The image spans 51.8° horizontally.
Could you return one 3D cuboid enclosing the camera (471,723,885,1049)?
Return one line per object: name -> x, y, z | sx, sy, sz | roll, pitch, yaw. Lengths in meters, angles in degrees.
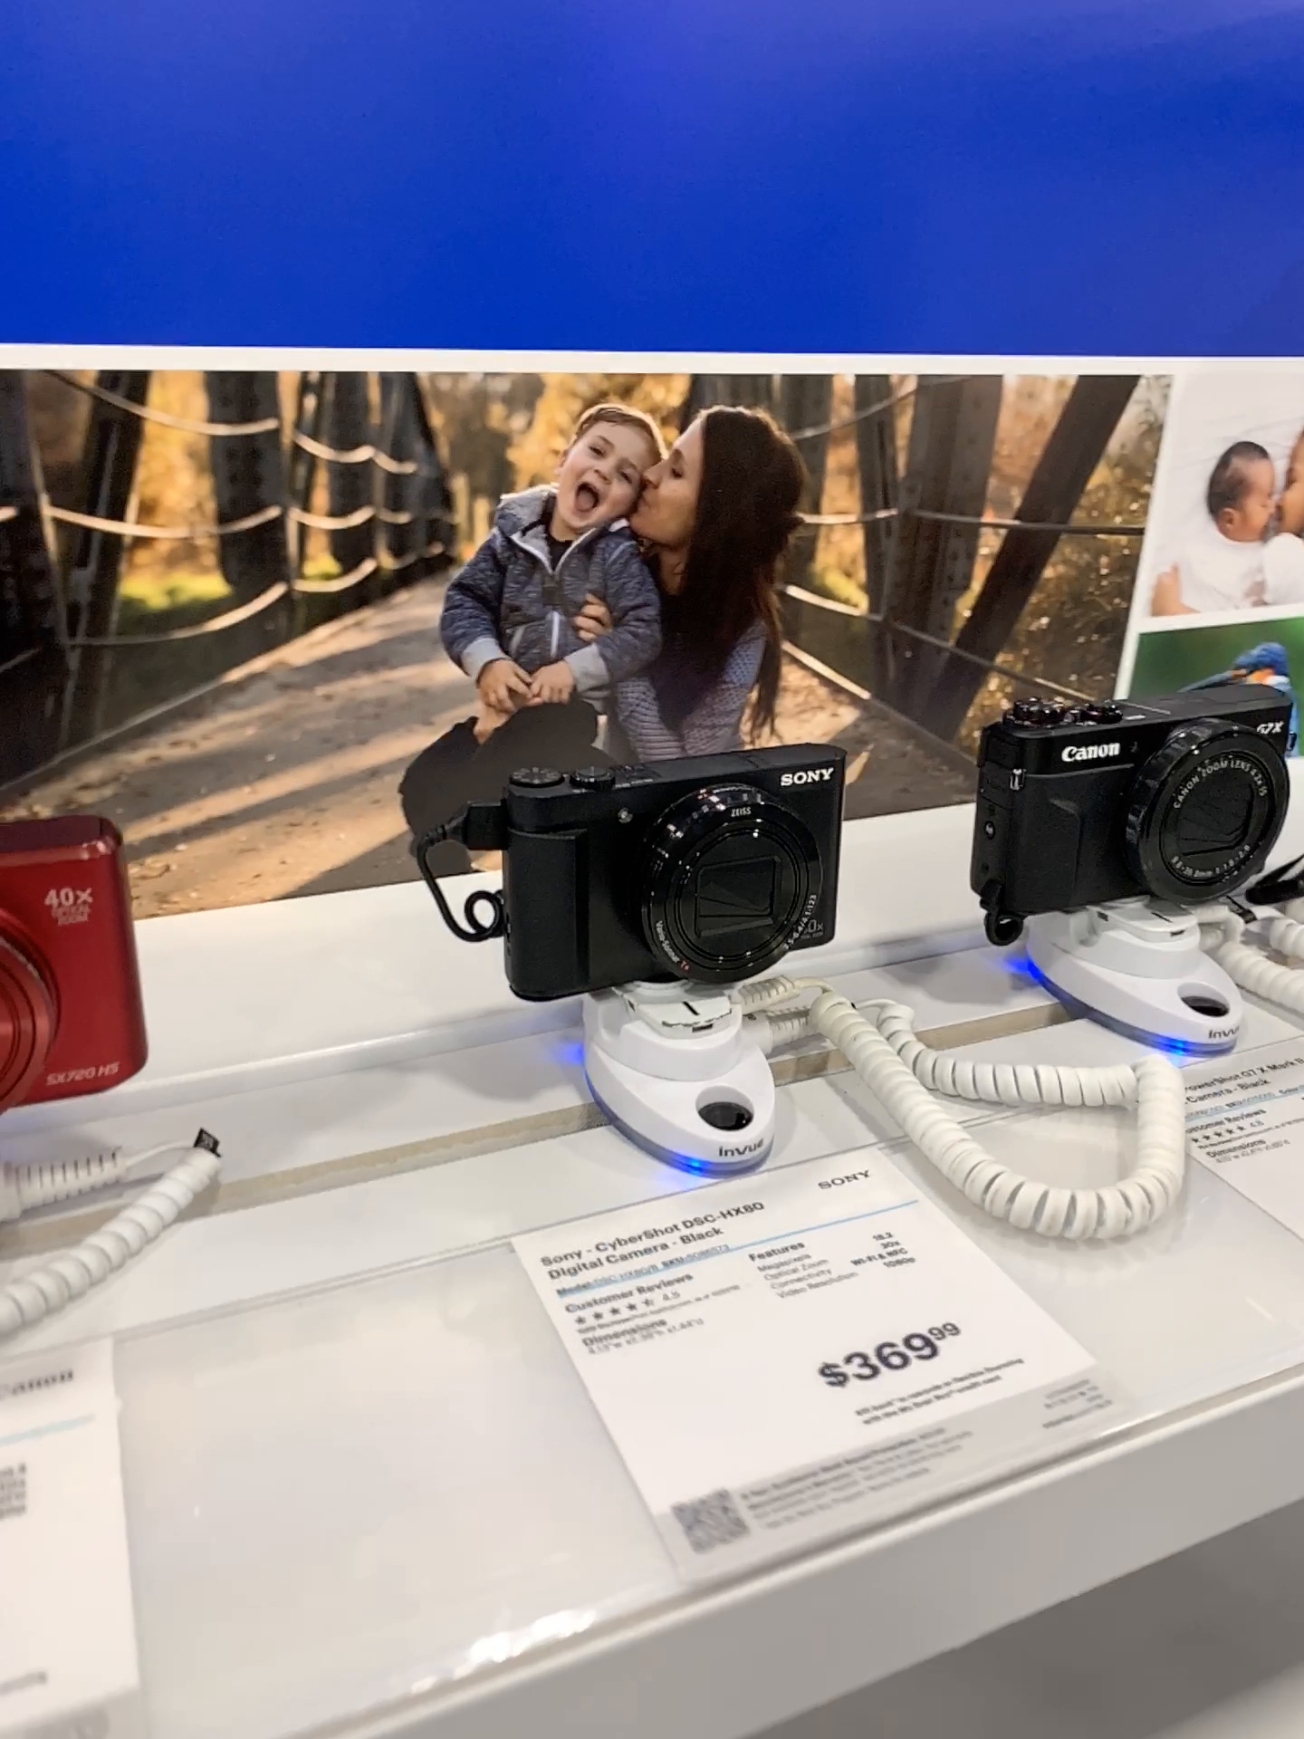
camera -> 0.008, 0.002, 0.378 | 0.110, 0.070, 0.030 | -9, 23, -22
